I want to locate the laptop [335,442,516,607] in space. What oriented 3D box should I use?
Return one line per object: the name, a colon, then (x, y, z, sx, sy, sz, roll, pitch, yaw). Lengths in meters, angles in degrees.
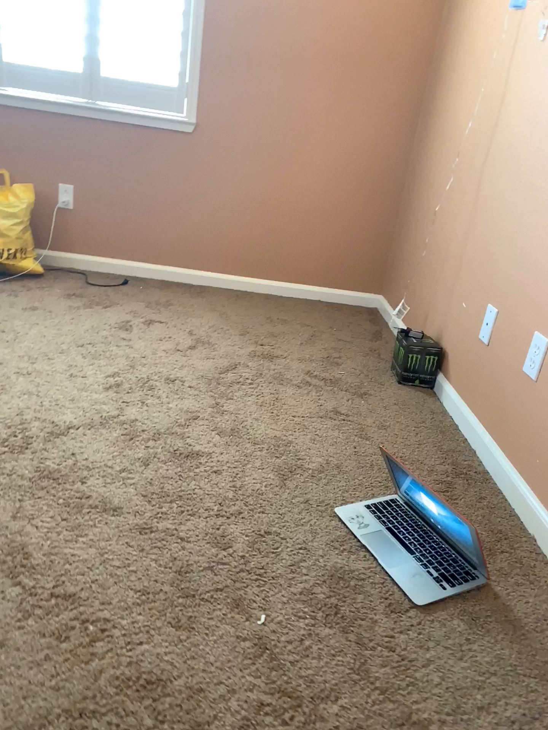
laptop: (0.302, 0.316, 1.174, 0.193, 0.148, 0.300, -4, 25, -28)
